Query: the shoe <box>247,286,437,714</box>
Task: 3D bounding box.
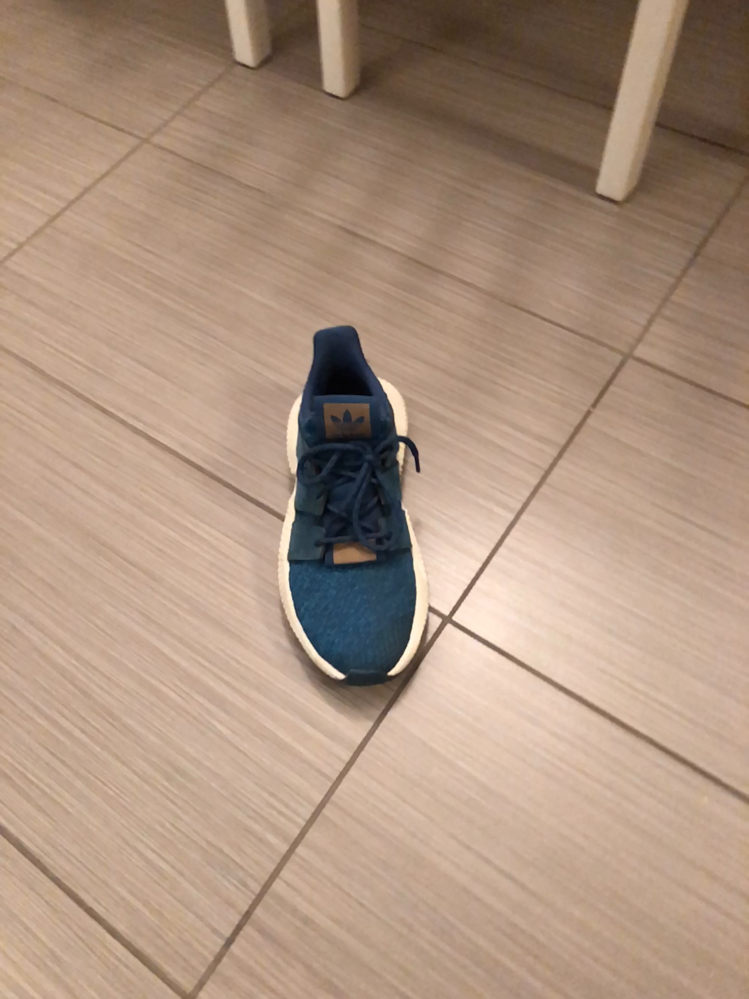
[{"bbox_3d":[-0.022,-0.005,0.614,0.111,0.120,0.291,-5,59,3],"label":"shoe"}]
